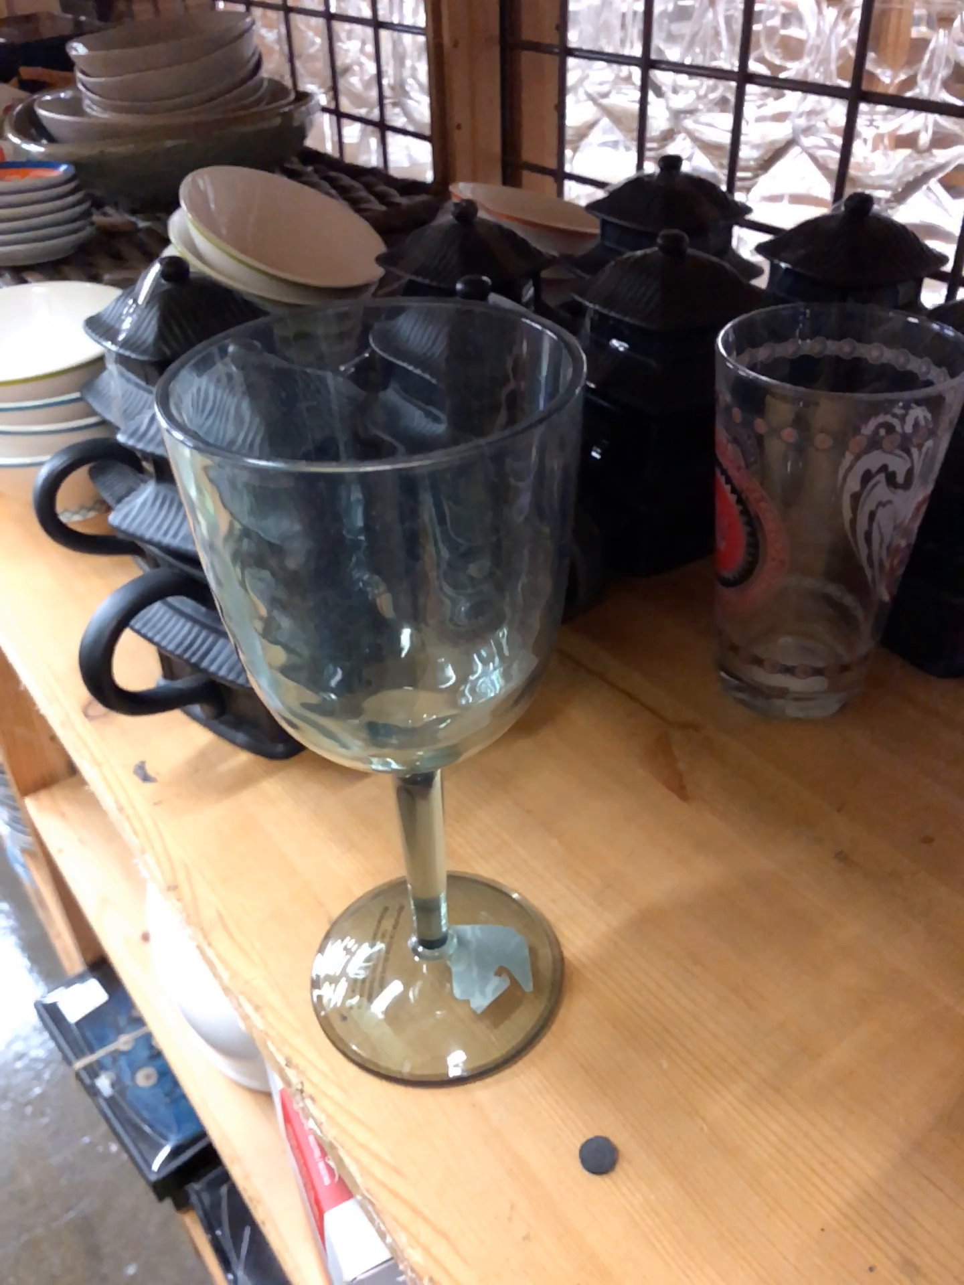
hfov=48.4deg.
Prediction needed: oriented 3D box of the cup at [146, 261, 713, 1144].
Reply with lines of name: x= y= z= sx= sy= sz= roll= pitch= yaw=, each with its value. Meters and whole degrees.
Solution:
cup: x=-0.012 y=0.021 z=0.287 sx=0.094 sy=0.204 sz=0.092 roll=-2 pitch=36 yaw=1
